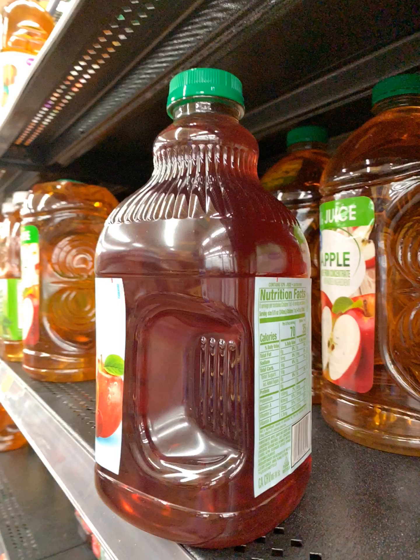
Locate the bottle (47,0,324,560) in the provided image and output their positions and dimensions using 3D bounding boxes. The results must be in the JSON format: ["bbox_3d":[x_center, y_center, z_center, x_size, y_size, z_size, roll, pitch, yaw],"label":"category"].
[{"bbox_3d":[-0.004,0.005,0.259,0.110,0.250,0.120,-2,2,0],"label":"bottle"}]
